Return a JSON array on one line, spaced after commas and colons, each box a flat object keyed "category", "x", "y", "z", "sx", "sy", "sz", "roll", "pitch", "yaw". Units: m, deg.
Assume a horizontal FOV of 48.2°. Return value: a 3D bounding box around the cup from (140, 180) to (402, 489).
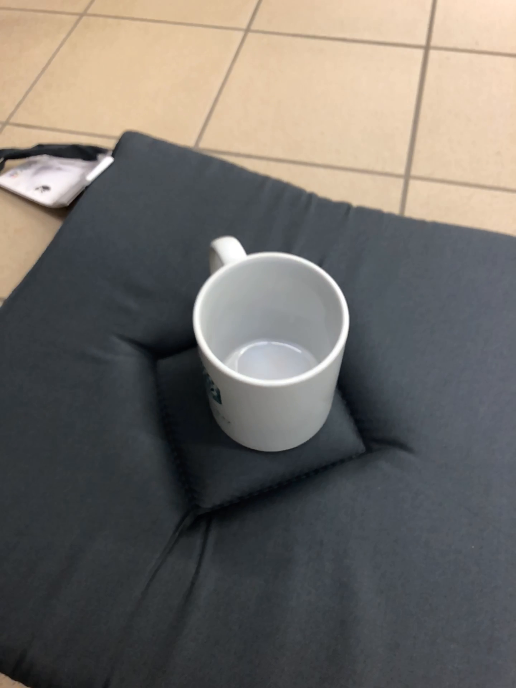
[{"category": "cup", "x": 0.003, "y": -0.006, "z": 0.335, "sx": 0.090, "sy": 0.090, "sz": 0.130, "roll": -22, "pitch": 60, "yaw": -10}]
